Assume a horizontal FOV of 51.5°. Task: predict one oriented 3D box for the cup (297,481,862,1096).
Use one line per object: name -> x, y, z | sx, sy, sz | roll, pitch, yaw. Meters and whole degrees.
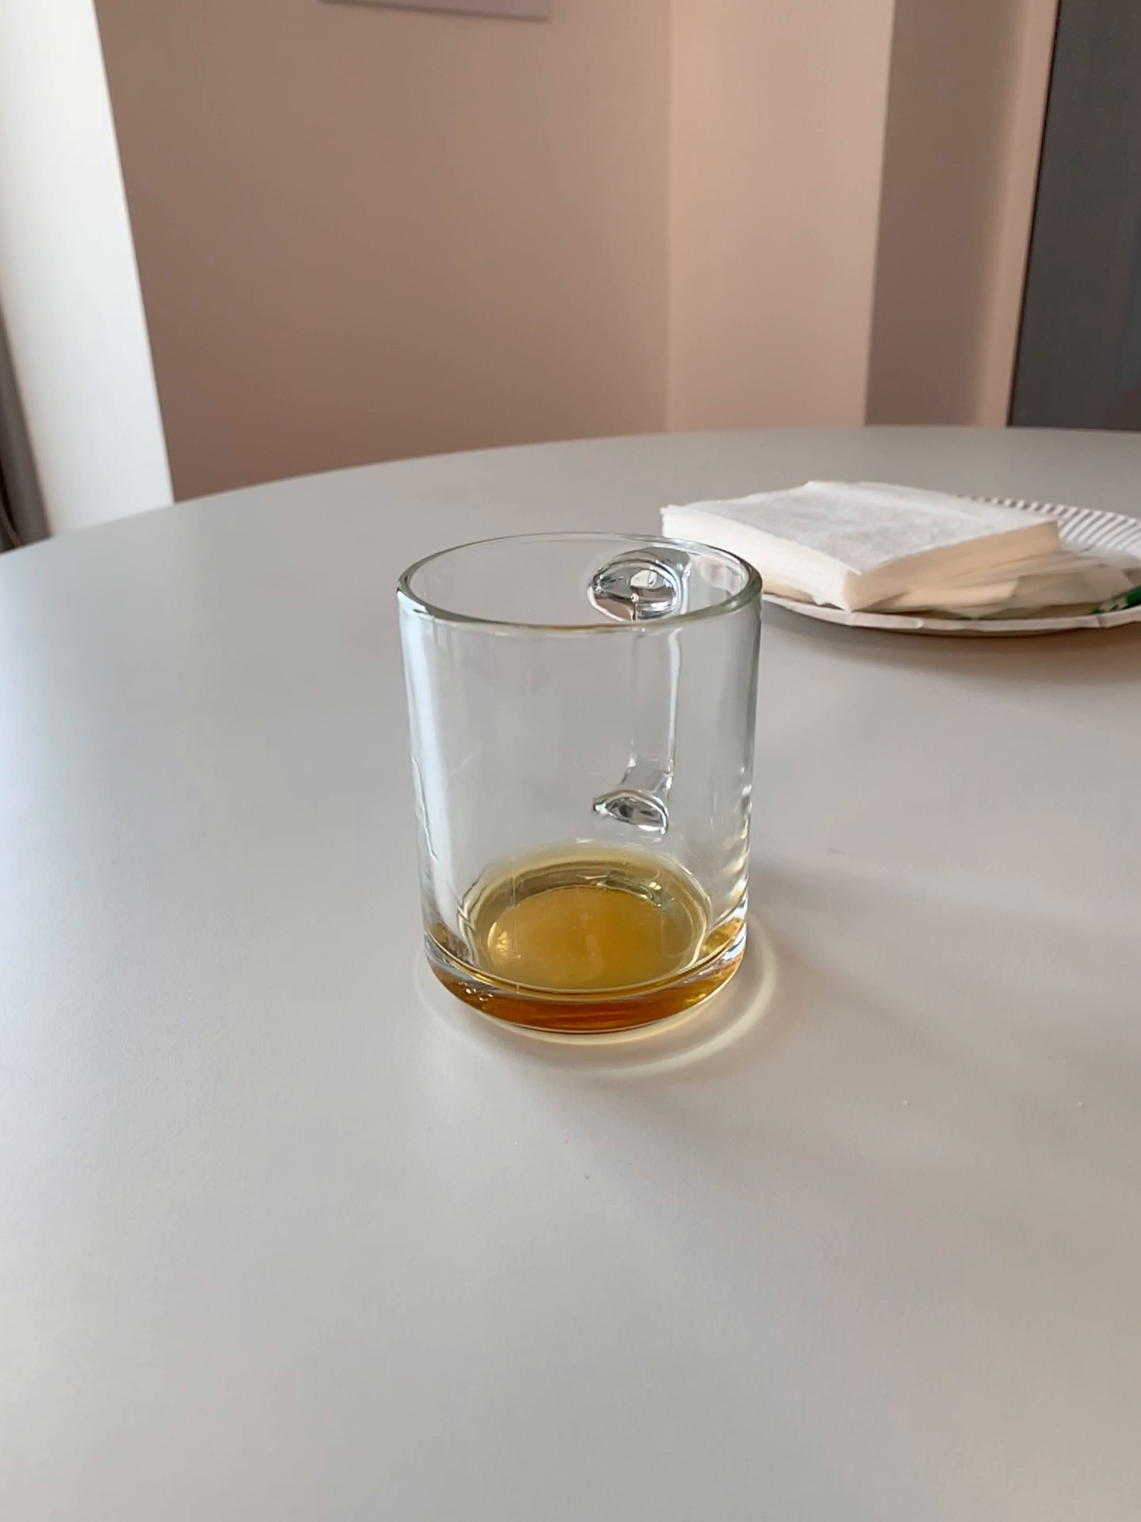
cup -> 0.009, -0.004, 0.263 | 0.082, 0.090, 0.102 | 10, 27, 23
